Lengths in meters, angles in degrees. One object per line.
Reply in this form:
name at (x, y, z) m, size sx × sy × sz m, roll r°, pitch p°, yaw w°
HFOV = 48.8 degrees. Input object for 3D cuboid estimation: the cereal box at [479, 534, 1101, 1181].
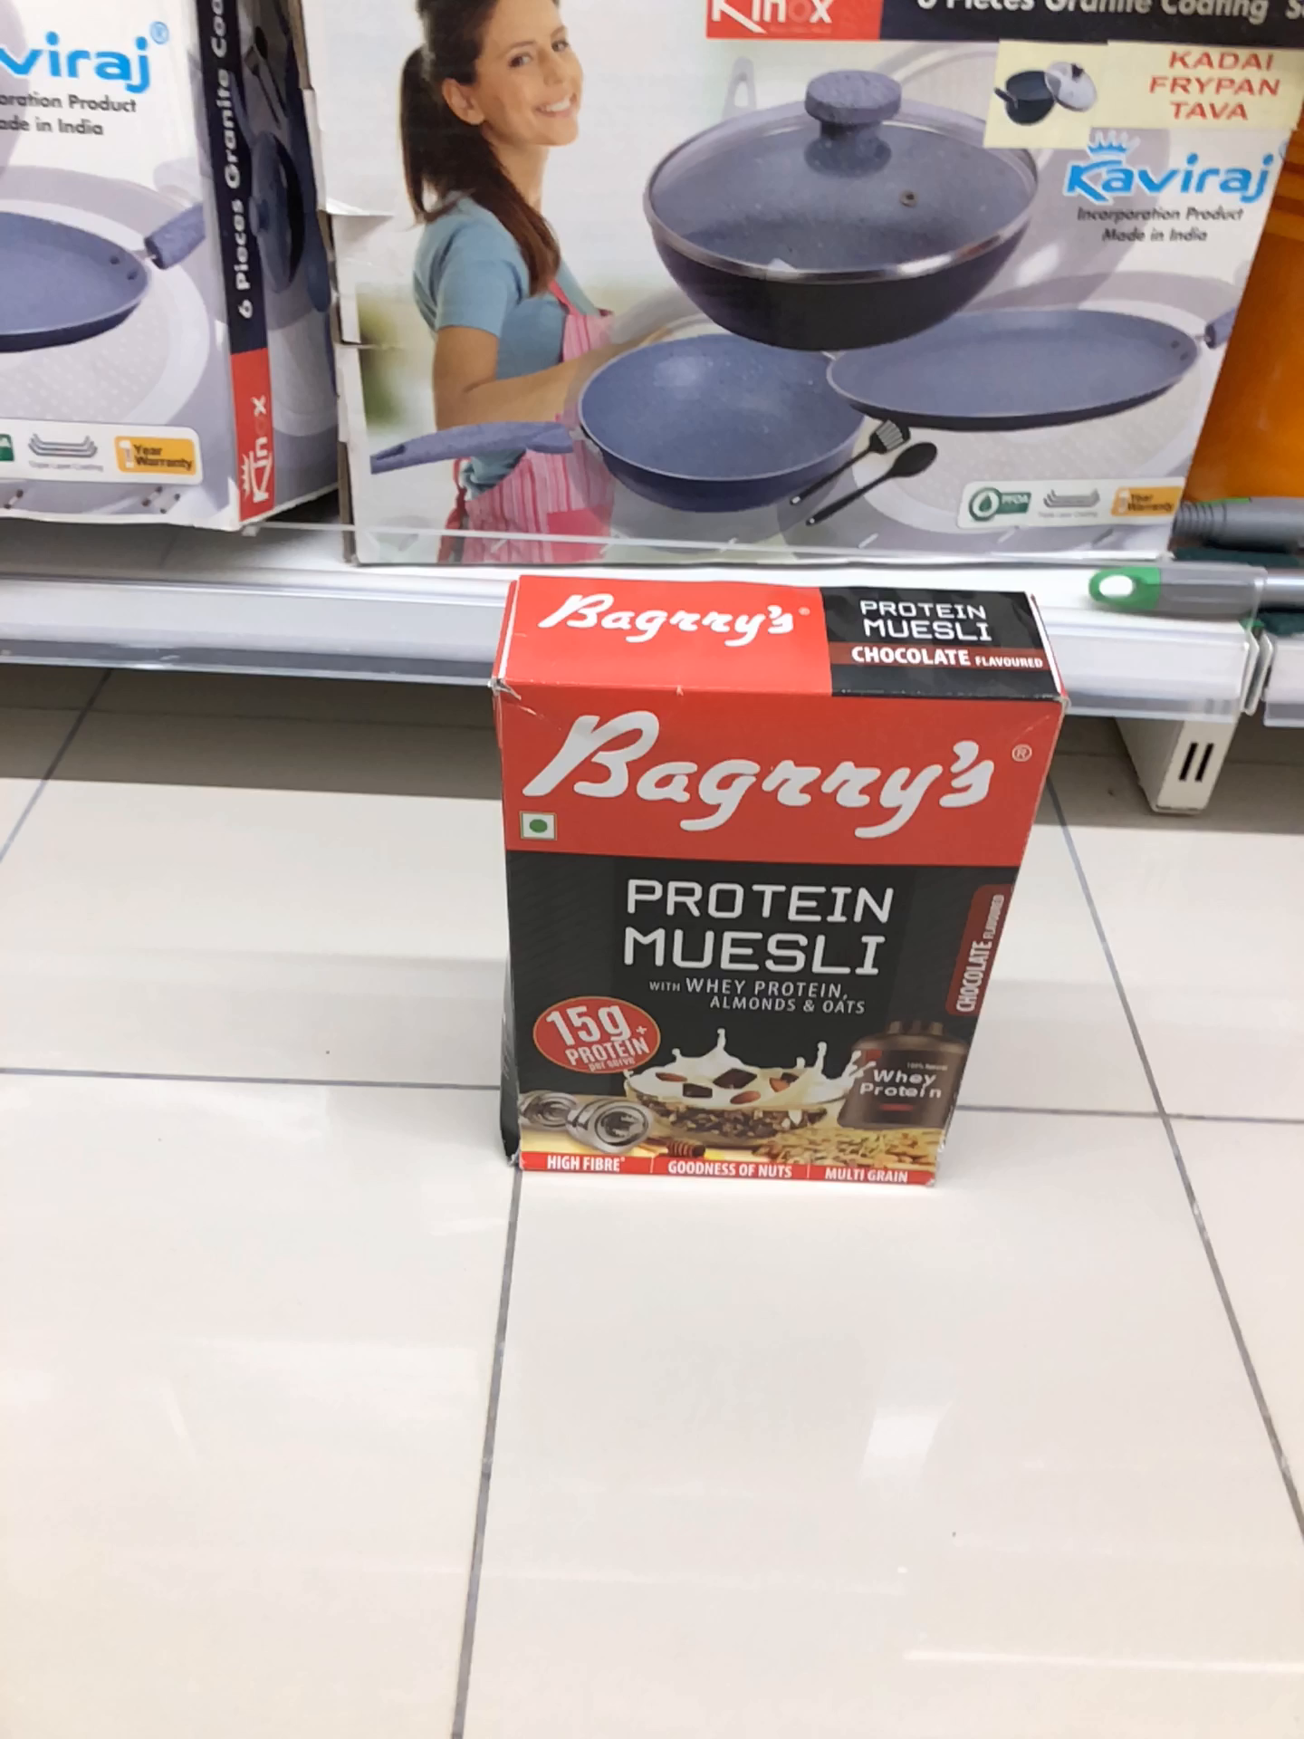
cereal box at (0.039, 0.005, 0.544) m, size 0.190 × 0.238 × 0.081 m, roll 2°, pitch 39°, yaw -1°
